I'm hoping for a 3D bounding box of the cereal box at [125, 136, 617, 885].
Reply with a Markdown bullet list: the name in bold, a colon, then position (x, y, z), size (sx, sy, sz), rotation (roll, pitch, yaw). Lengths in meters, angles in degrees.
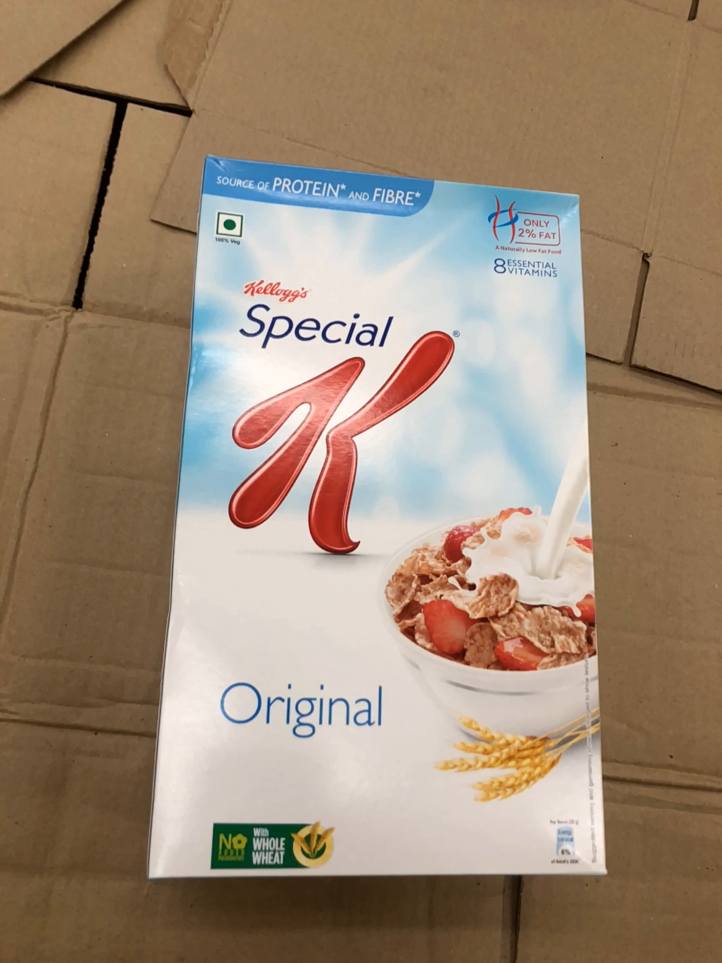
- **cereal box**: position (0.006, 0.012, 0.372), size (0.180, 0.100, 0.300), rotation (4, 76, -7)
